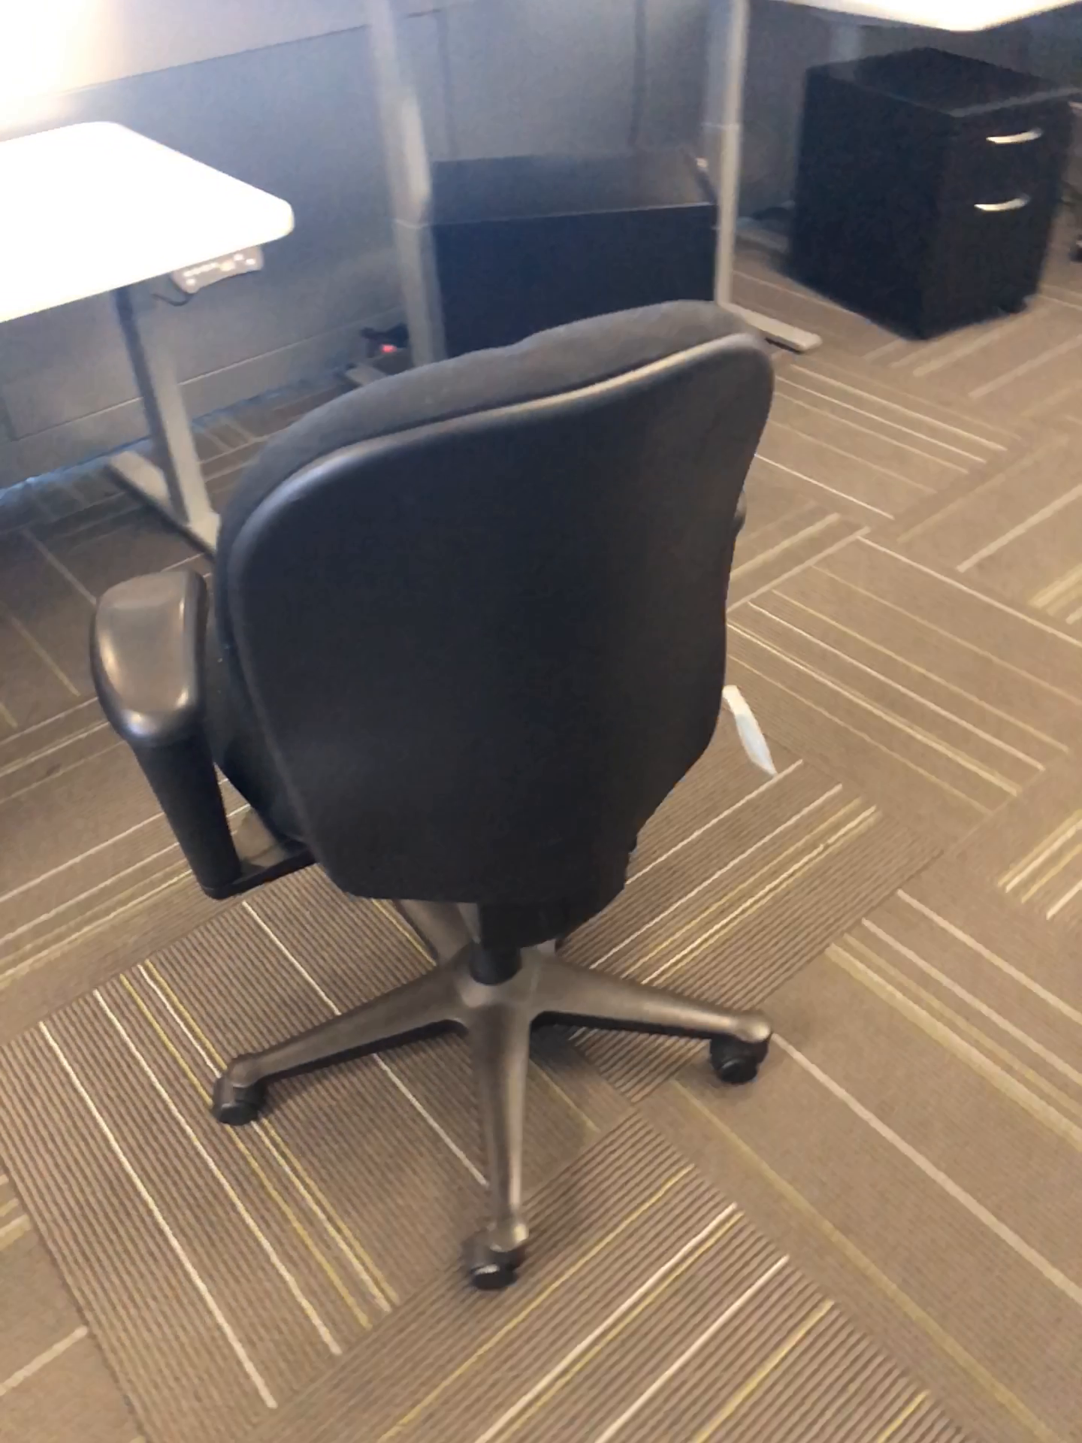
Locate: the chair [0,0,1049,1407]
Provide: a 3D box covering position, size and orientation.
[{"bbox_3d":[-0.141,-0.027,1.145,0.700,0.995,0.683,-17,42,-15],"label":"chair"}]
